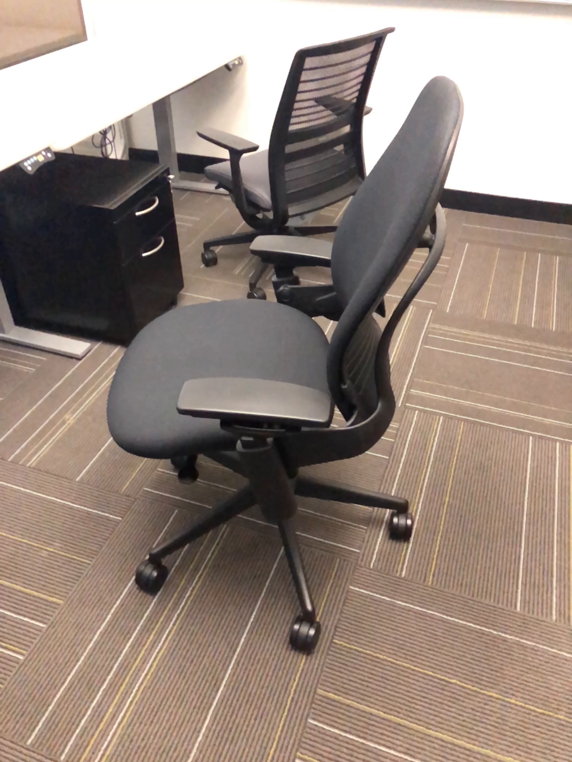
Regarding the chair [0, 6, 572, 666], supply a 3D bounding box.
[{"bbox_3d":[-0.066,-0.093,1.255,0.830,1.035,0.734,4,38,5],"label":"chair"}]
